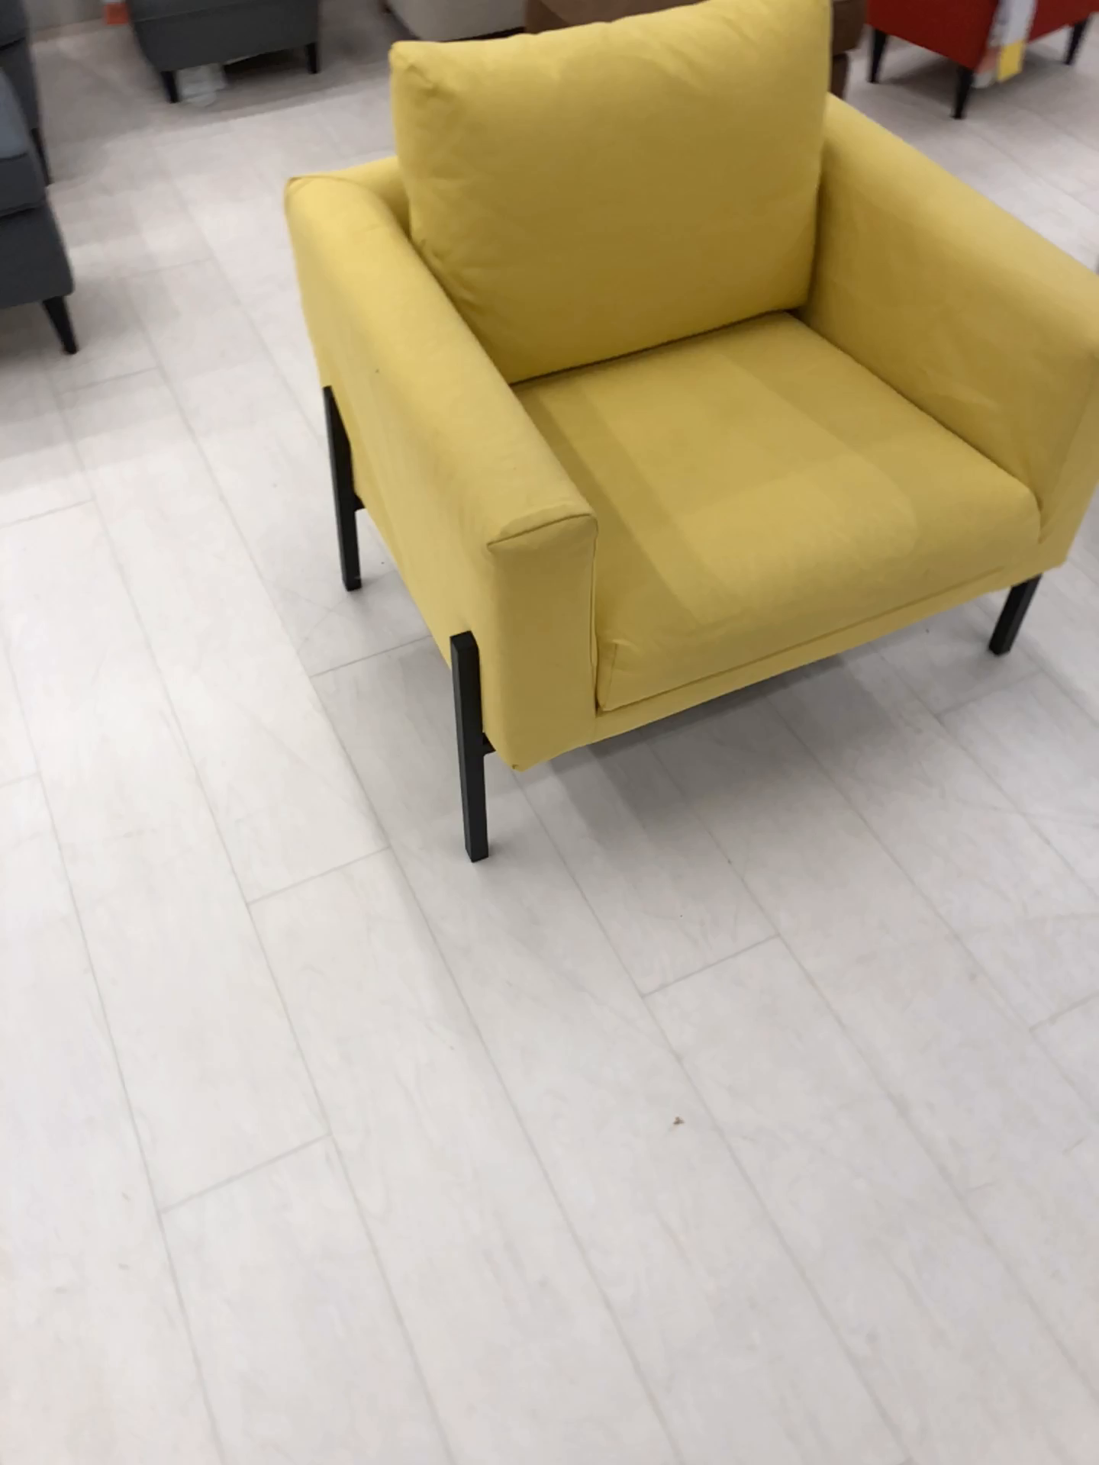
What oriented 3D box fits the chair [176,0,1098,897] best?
[{"bbox_3d":[0.182,-0.439,1.555,0.980,0.758,0.692,-21,54,-16],"label":"chair"}]
